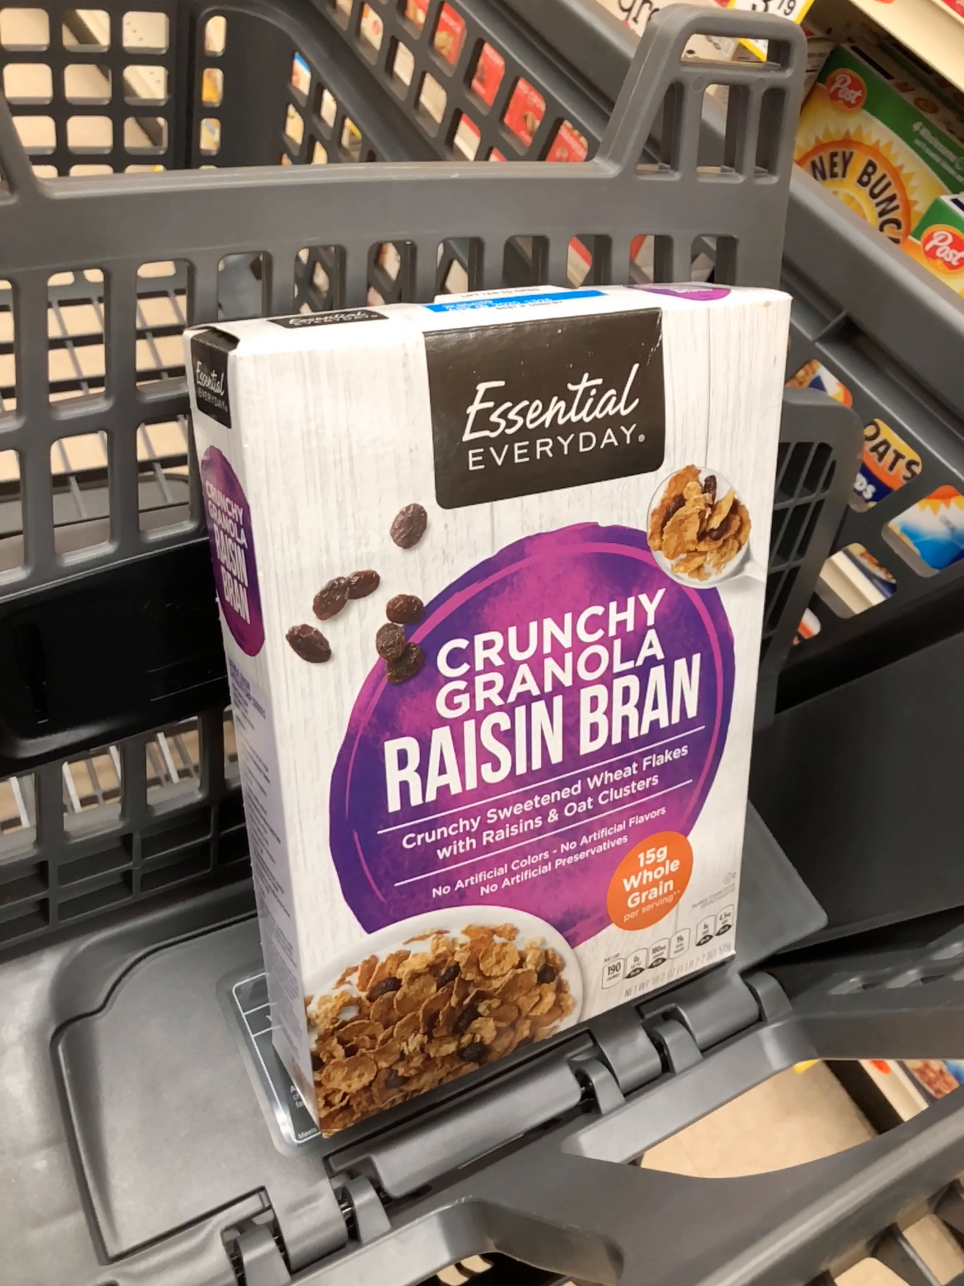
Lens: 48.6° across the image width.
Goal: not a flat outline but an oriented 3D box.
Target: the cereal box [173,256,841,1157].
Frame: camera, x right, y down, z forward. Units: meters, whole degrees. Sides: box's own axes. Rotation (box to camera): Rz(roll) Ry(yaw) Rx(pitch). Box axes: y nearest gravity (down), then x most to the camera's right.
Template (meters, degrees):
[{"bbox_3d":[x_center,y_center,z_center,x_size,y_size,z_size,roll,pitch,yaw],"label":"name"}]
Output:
[{"bbox_3d":[0.017,0.015,0.387,0.200,0.280,0.070,-14,26,-27],"label":"cereal box"}]
